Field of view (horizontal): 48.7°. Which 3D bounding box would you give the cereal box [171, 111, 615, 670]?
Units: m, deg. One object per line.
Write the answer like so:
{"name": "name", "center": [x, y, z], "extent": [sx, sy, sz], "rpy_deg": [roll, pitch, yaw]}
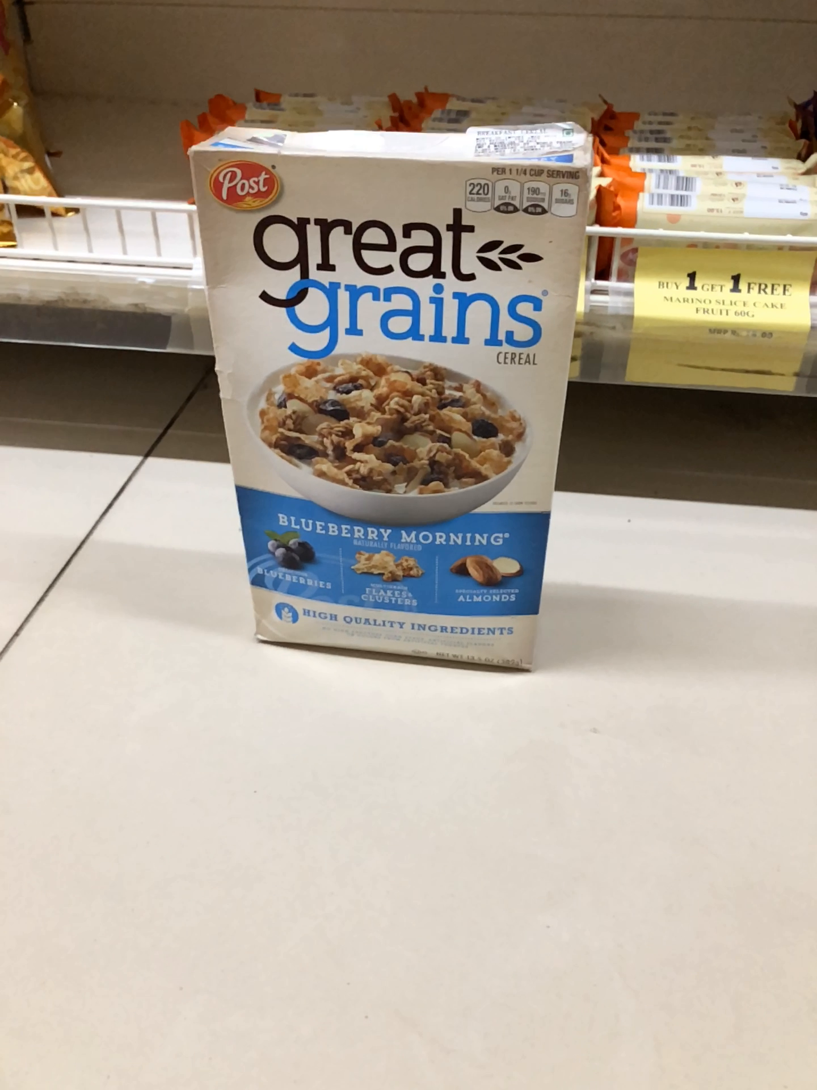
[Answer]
{"name": "cereal box", "center": [-0.004, -0.062, 0.442], "extent": [0.170, 0.258, 0.060], "rpy_deg": [5, 36, 6]}
